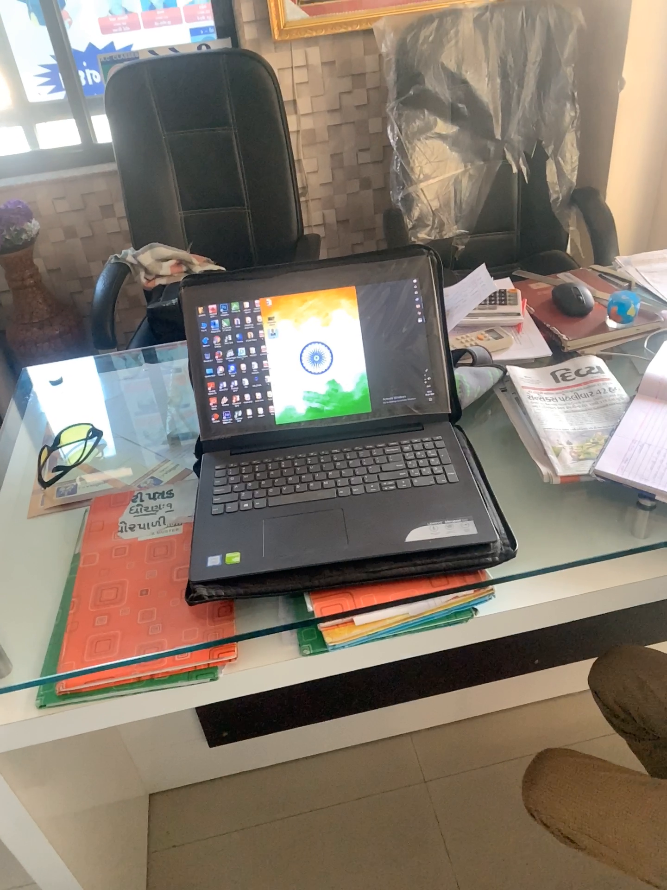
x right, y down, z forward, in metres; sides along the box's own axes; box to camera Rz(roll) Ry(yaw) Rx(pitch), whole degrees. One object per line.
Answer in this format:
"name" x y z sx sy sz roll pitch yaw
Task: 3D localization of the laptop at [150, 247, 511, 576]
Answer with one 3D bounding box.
"laptop" -0.012 -0.066 0.833 0.334 0.175 0.392 -7 37 0
